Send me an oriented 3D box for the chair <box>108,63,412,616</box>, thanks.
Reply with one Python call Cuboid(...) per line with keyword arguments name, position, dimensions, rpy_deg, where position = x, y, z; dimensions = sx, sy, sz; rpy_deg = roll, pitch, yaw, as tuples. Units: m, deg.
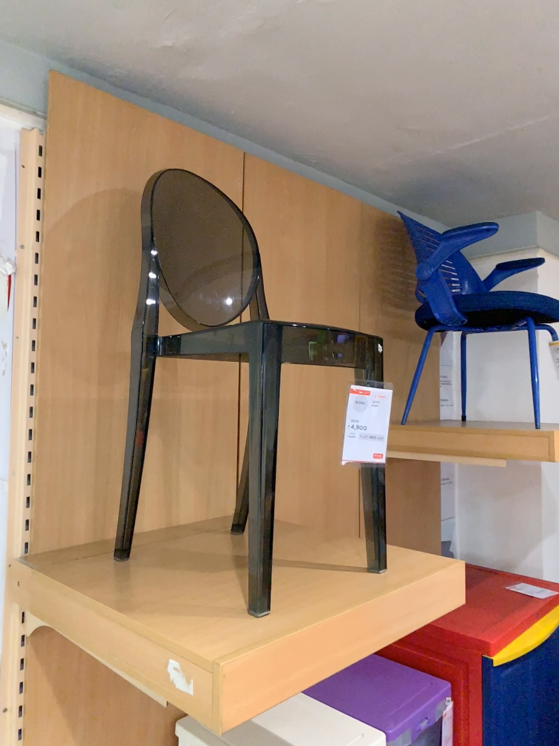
Cuboid(name="chair", position=(-0.041, -0.050, 1.179), dimensions=(0.470, 0.851, 0.400), rpy_deg=(-2, -4, 43))
